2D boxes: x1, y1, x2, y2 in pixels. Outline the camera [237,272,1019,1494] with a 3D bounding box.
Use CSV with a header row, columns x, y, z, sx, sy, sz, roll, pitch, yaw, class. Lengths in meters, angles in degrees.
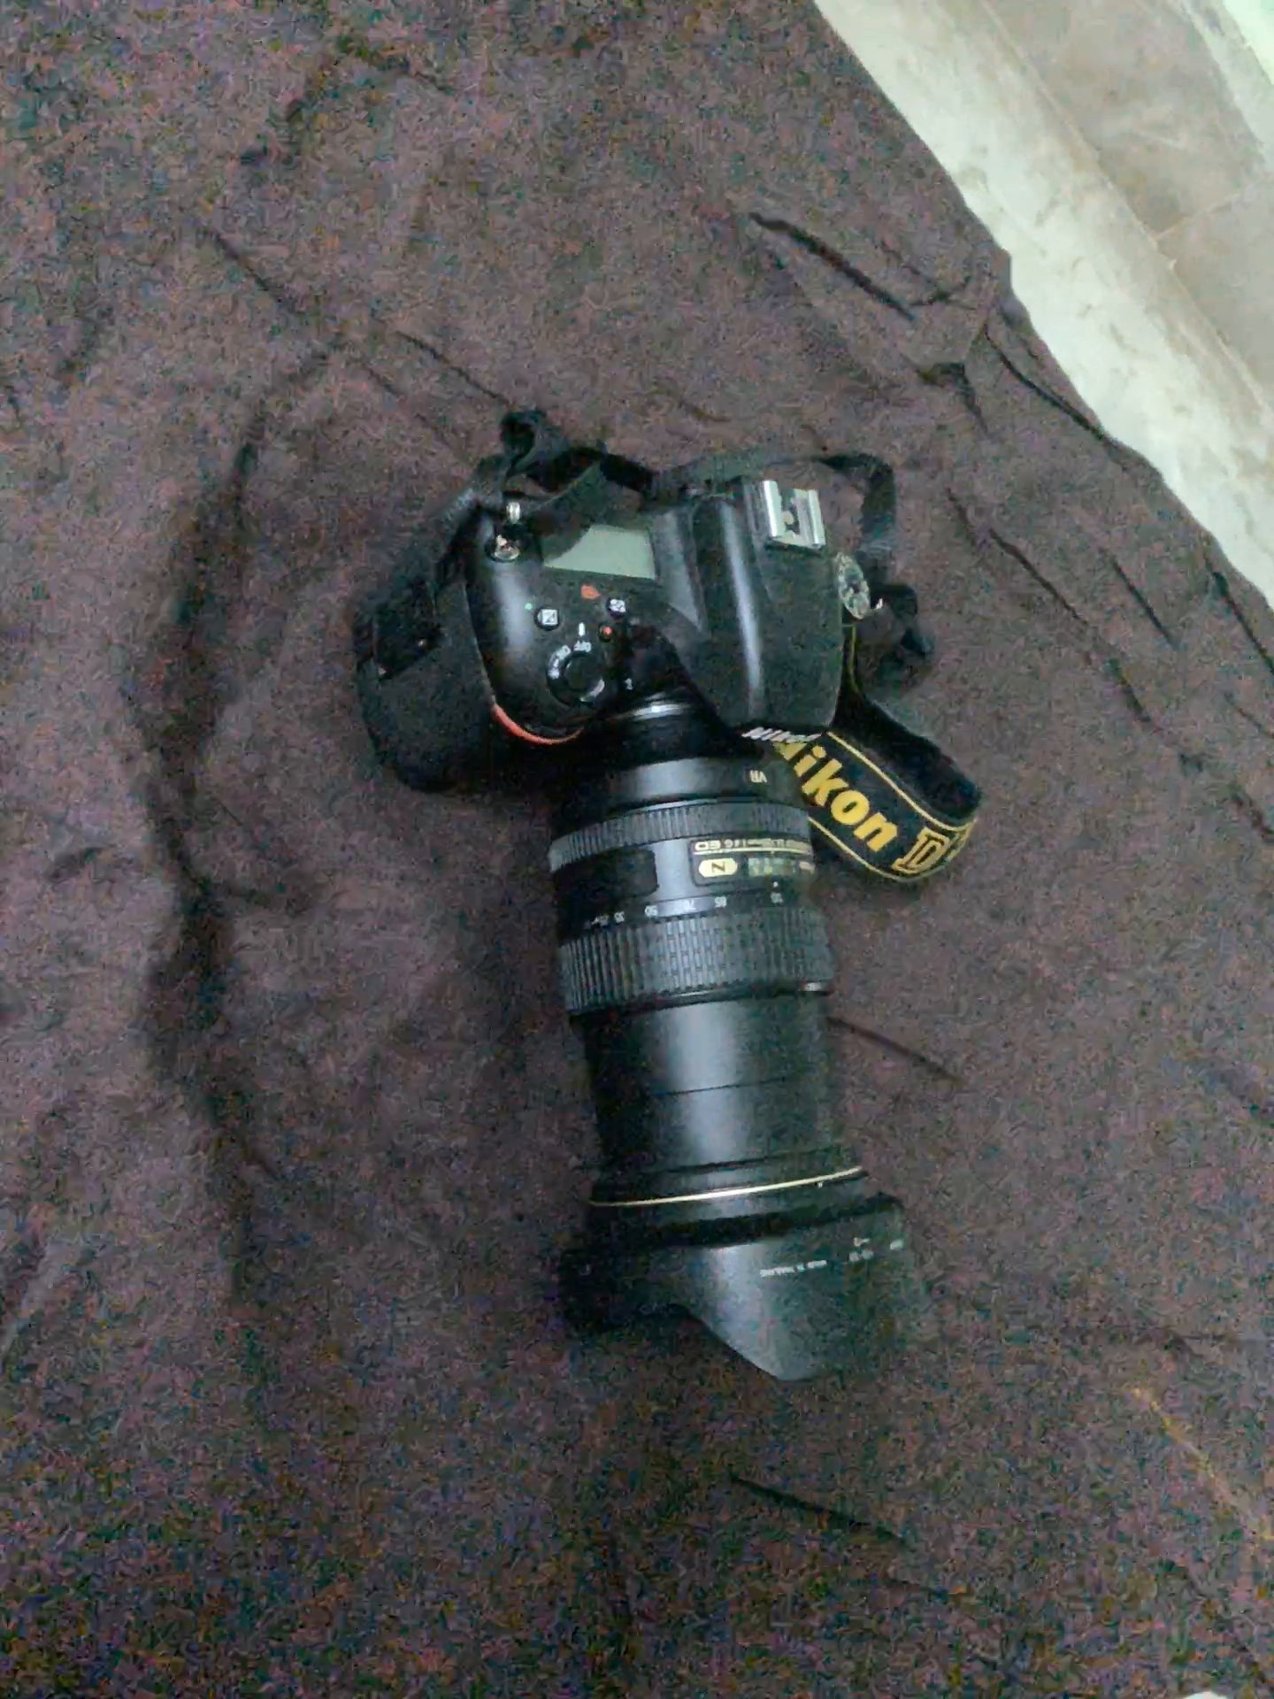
x,y,z,sx,sy,sz,roll,pitch,yaw,class
-0.003,0.006,0.383,0.161,0.100,0.278,-4,82,-40,camera
